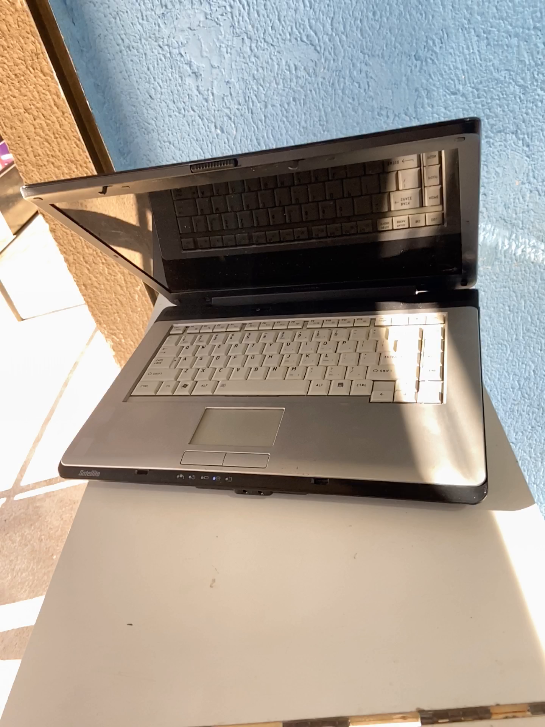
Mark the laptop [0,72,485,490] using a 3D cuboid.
[{"bbox_3d":[-0.014,-0.072,0.470,0.351,0.202,0.247,-1,39,20],"label":"laptop"}]
